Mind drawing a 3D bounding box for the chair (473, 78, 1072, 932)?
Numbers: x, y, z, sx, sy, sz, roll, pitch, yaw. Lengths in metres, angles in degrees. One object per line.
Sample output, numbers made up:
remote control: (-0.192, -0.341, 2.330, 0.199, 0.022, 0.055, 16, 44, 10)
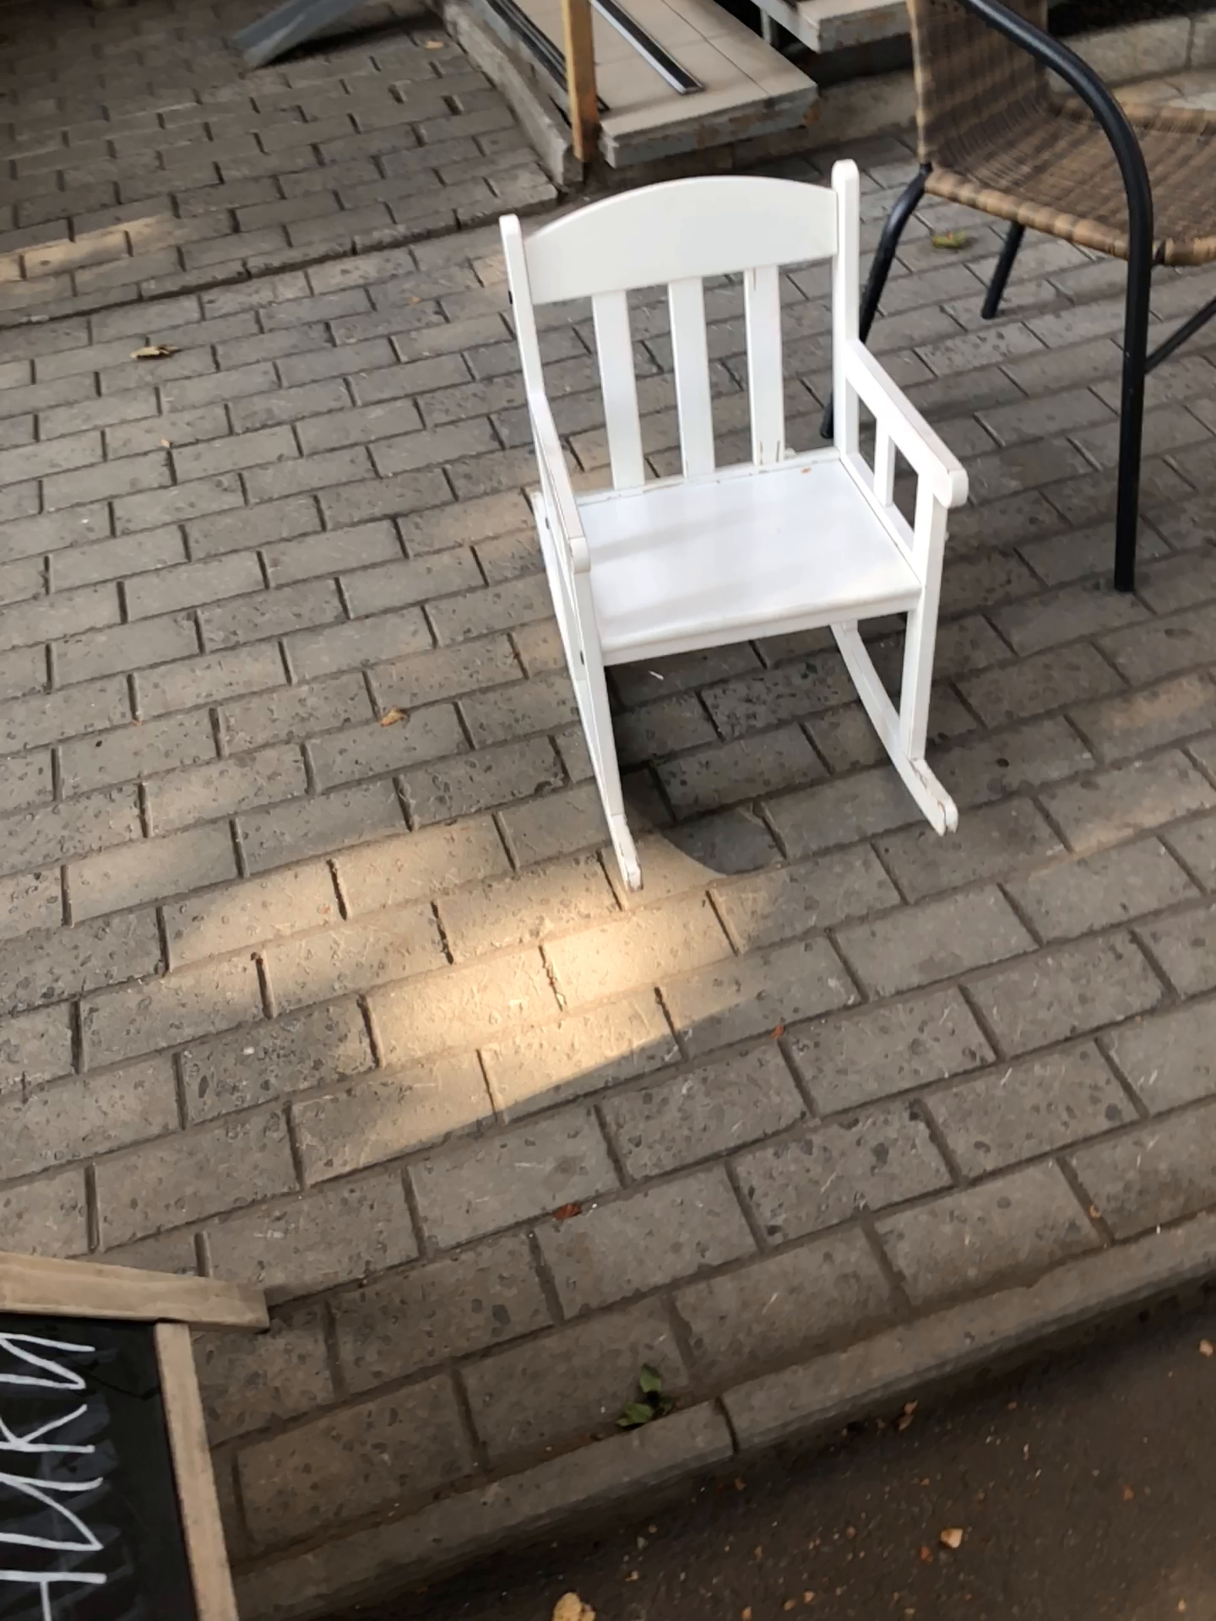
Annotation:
chair: (0.120, -0.348, 1.427, 0.380, 0.518, 0.733, -10, 48, -3)
